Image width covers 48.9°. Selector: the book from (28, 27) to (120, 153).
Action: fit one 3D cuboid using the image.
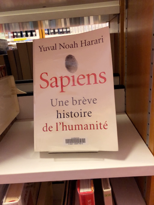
[{"bbox_3d":[-0.009,-0.021,0.366,0.178,0.244,0.052,-3,-5,10],"label":"book"}]
